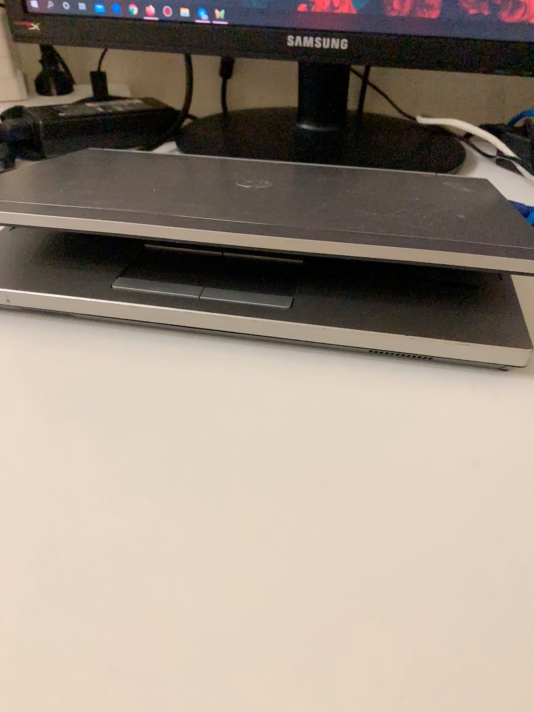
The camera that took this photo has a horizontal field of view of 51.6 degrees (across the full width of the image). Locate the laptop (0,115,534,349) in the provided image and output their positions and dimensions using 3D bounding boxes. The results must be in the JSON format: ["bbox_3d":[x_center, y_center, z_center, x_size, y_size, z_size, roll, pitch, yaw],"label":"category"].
[{"bbox_3d":[-0.006,-0.091,0.327,0.292,0.029,0.184,7,40,8],"label":"laptop"}]
